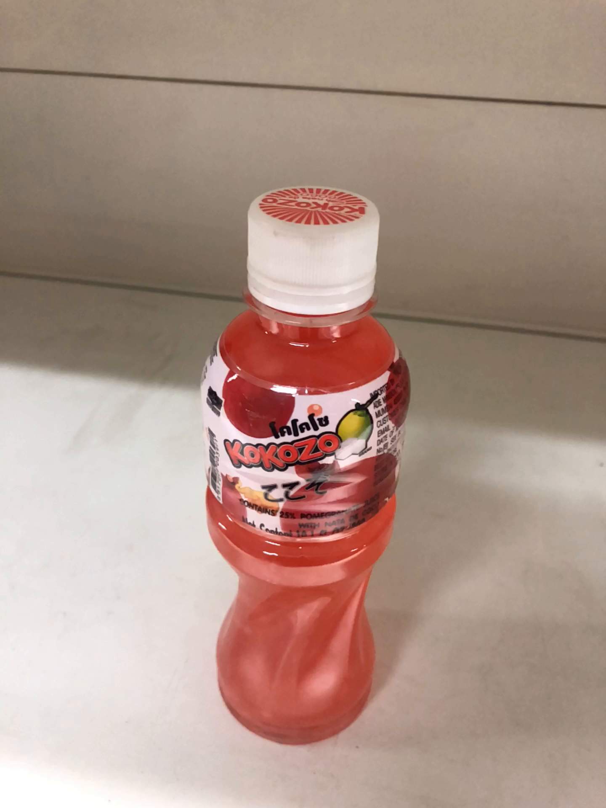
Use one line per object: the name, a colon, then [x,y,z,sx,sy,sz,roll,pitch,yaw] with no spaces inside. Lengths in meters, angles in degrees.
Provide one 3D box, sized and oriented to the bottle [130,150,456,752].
bottle: [-0.004,0.024,0.192,0.060,0.169,0.050,3,32,1]
